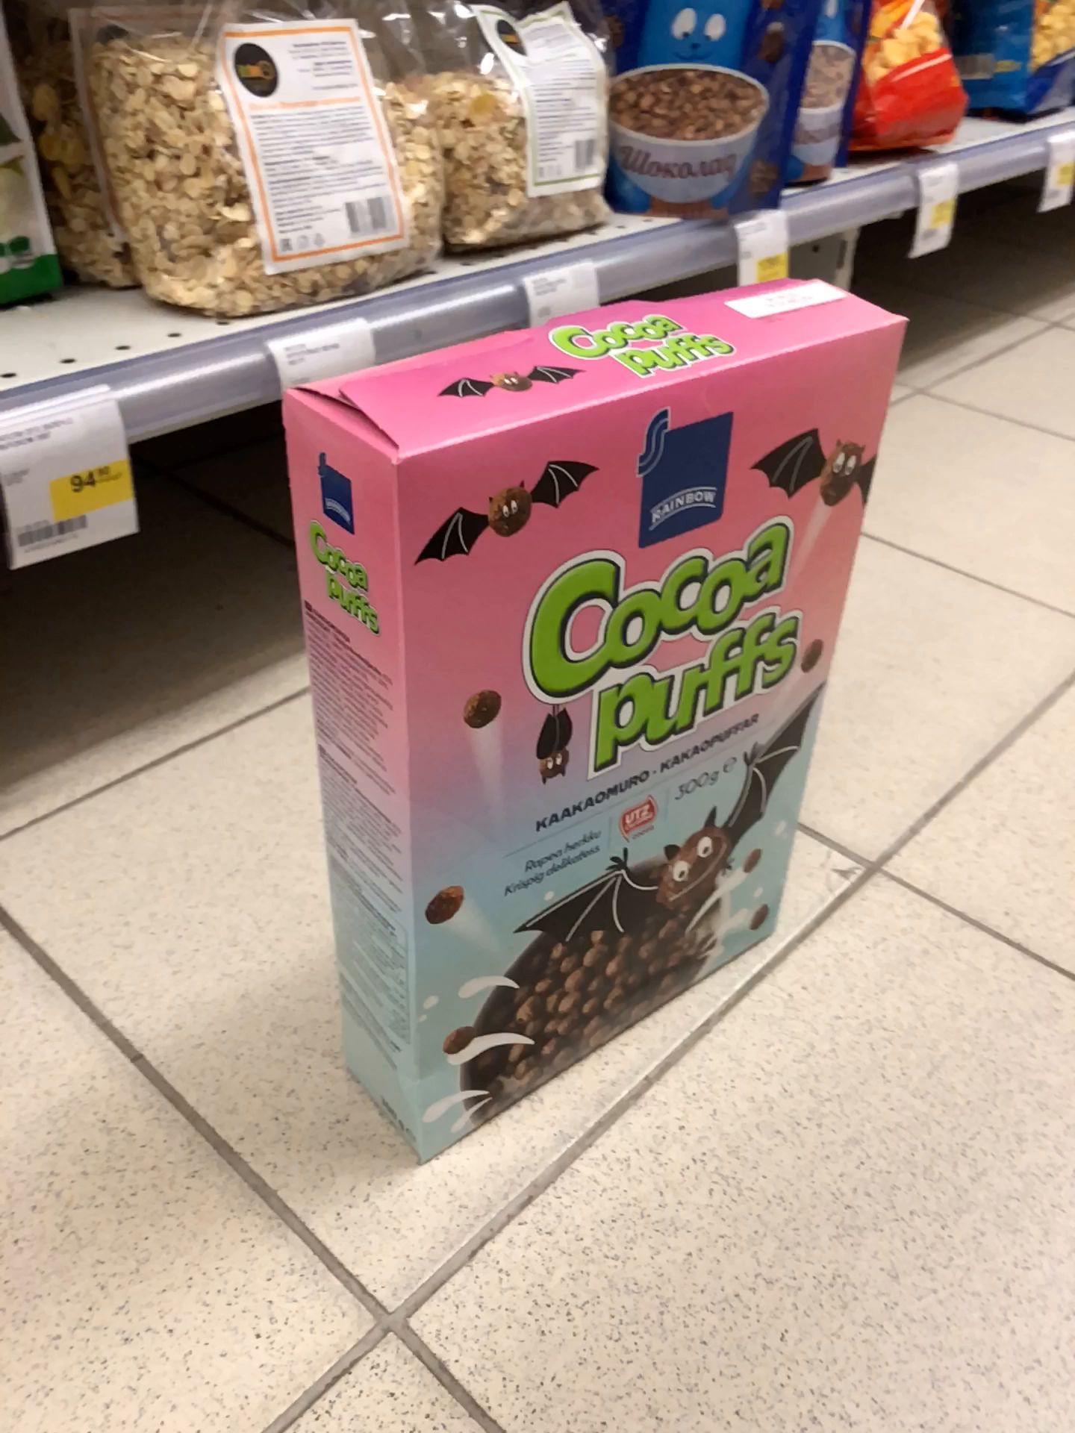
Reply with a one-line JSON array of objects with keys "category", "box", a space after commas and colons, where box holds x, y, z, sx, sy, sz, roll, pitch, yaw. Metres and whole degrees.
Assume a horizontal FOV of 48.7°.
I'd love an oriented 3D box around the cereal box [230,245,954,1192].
[{"category": "cereal box", "box": [0.021, 0.002, 0.401, 0.211, 0.268, 0.060, -24, 43, -32]}]
